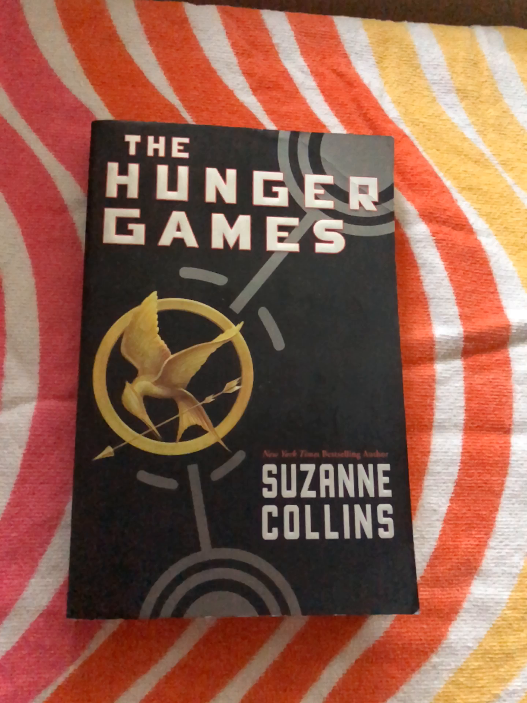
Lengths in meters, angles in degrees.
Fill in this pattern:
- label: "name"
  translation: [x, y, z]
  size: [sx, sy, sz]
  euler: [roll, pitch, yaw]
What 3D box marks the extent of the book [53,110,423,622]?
- label: "book"
  translation: [-0.009, 0.003, 0.251]
  size: [0.138, 0.037, 0.200]
  euler: [1, 80, -6]
